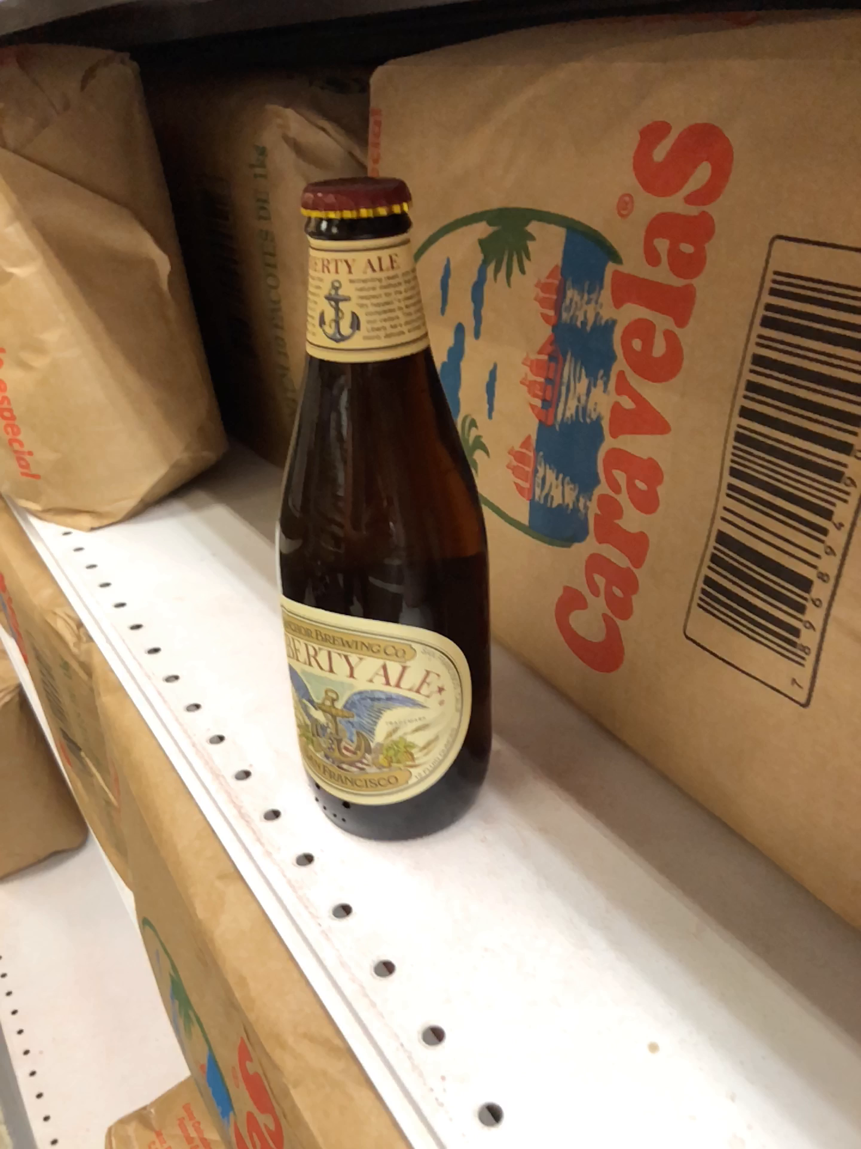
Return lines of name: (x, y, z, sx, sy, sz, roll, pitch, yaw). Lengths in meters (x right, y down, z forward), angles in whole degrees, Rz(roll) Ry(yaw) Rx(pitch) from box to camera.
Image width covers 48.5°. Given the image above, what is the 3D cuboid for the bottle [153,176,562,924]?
bottle: (-0.013, -0.007, 0.272, 0.070, 0.188, 0.070, -1, 27, 1)
